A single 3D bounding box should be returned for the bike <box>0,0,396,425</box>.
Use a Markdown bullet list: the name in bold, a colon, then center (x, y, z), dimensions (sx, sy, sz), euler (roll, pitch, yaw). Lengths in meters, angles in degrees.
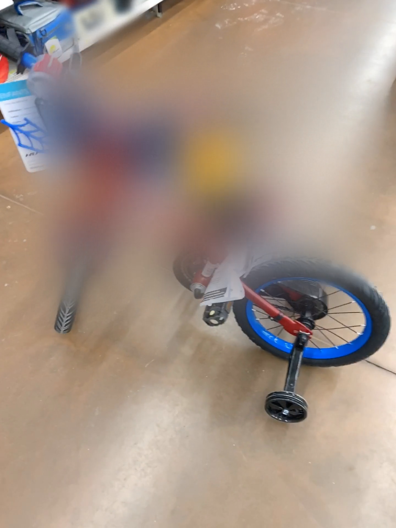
- **bike**: center (-0.029, -0.055, 0.779), dimensions (0.565, 0.709, 0.477), euler (6, 51, 5)
